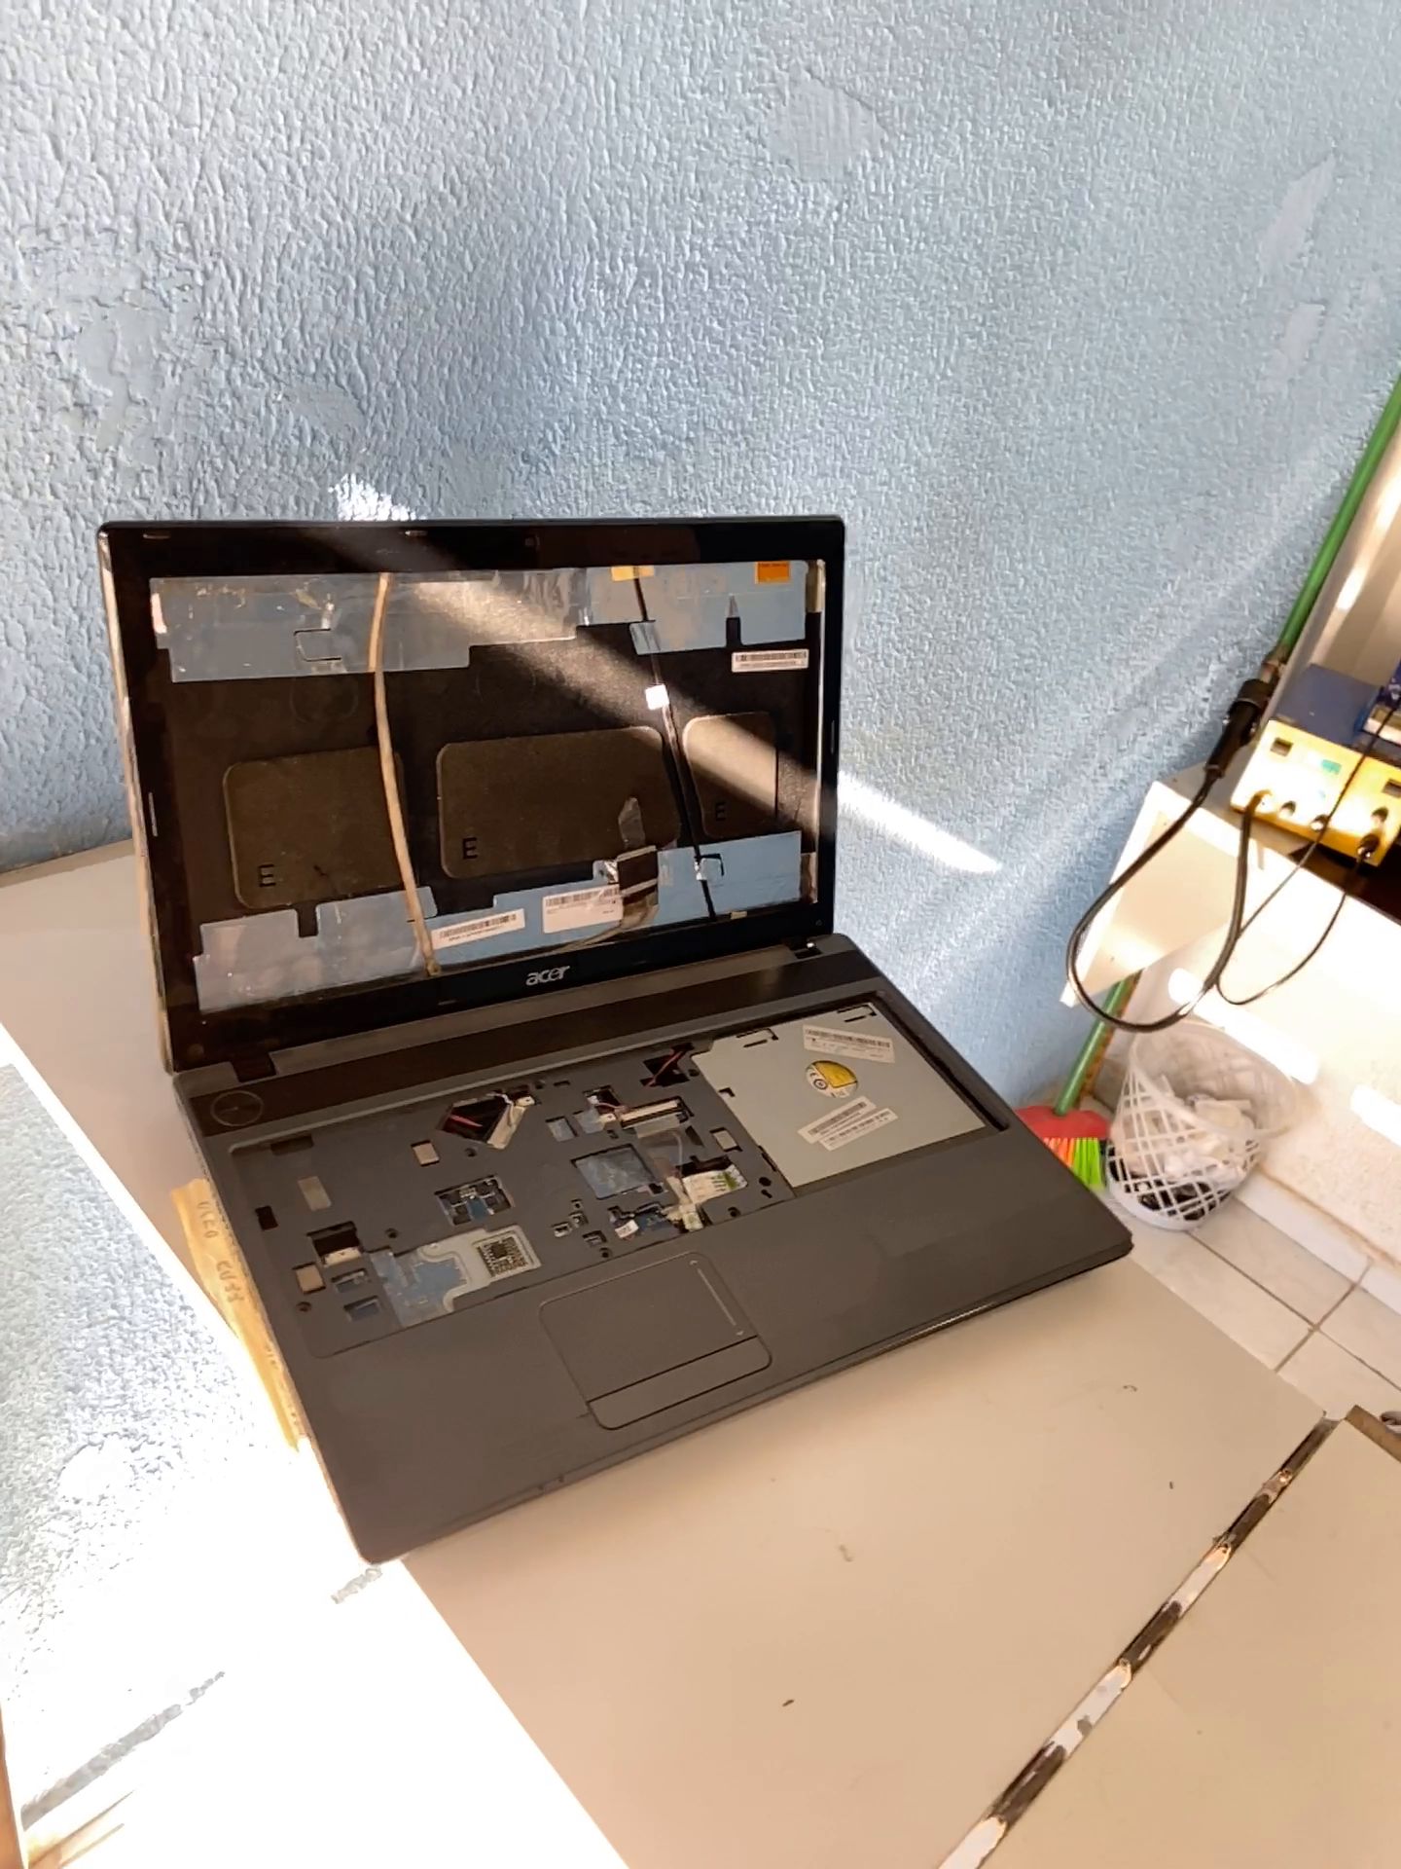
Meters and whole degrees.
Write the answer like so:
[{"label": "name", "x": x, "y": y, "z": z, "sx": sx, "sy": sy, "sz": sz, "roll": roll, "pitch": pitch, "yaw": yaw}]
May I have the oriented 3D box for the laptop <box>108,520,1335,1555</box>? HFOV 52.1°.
[{"label": "laptop", "x": -0.018, "y": -0.009, "z": 0.635, "sx": 0.379, "sy": 0.210, "sz": 0.350, "roll": -10, "pitch": 41, "yaw": -30}]
